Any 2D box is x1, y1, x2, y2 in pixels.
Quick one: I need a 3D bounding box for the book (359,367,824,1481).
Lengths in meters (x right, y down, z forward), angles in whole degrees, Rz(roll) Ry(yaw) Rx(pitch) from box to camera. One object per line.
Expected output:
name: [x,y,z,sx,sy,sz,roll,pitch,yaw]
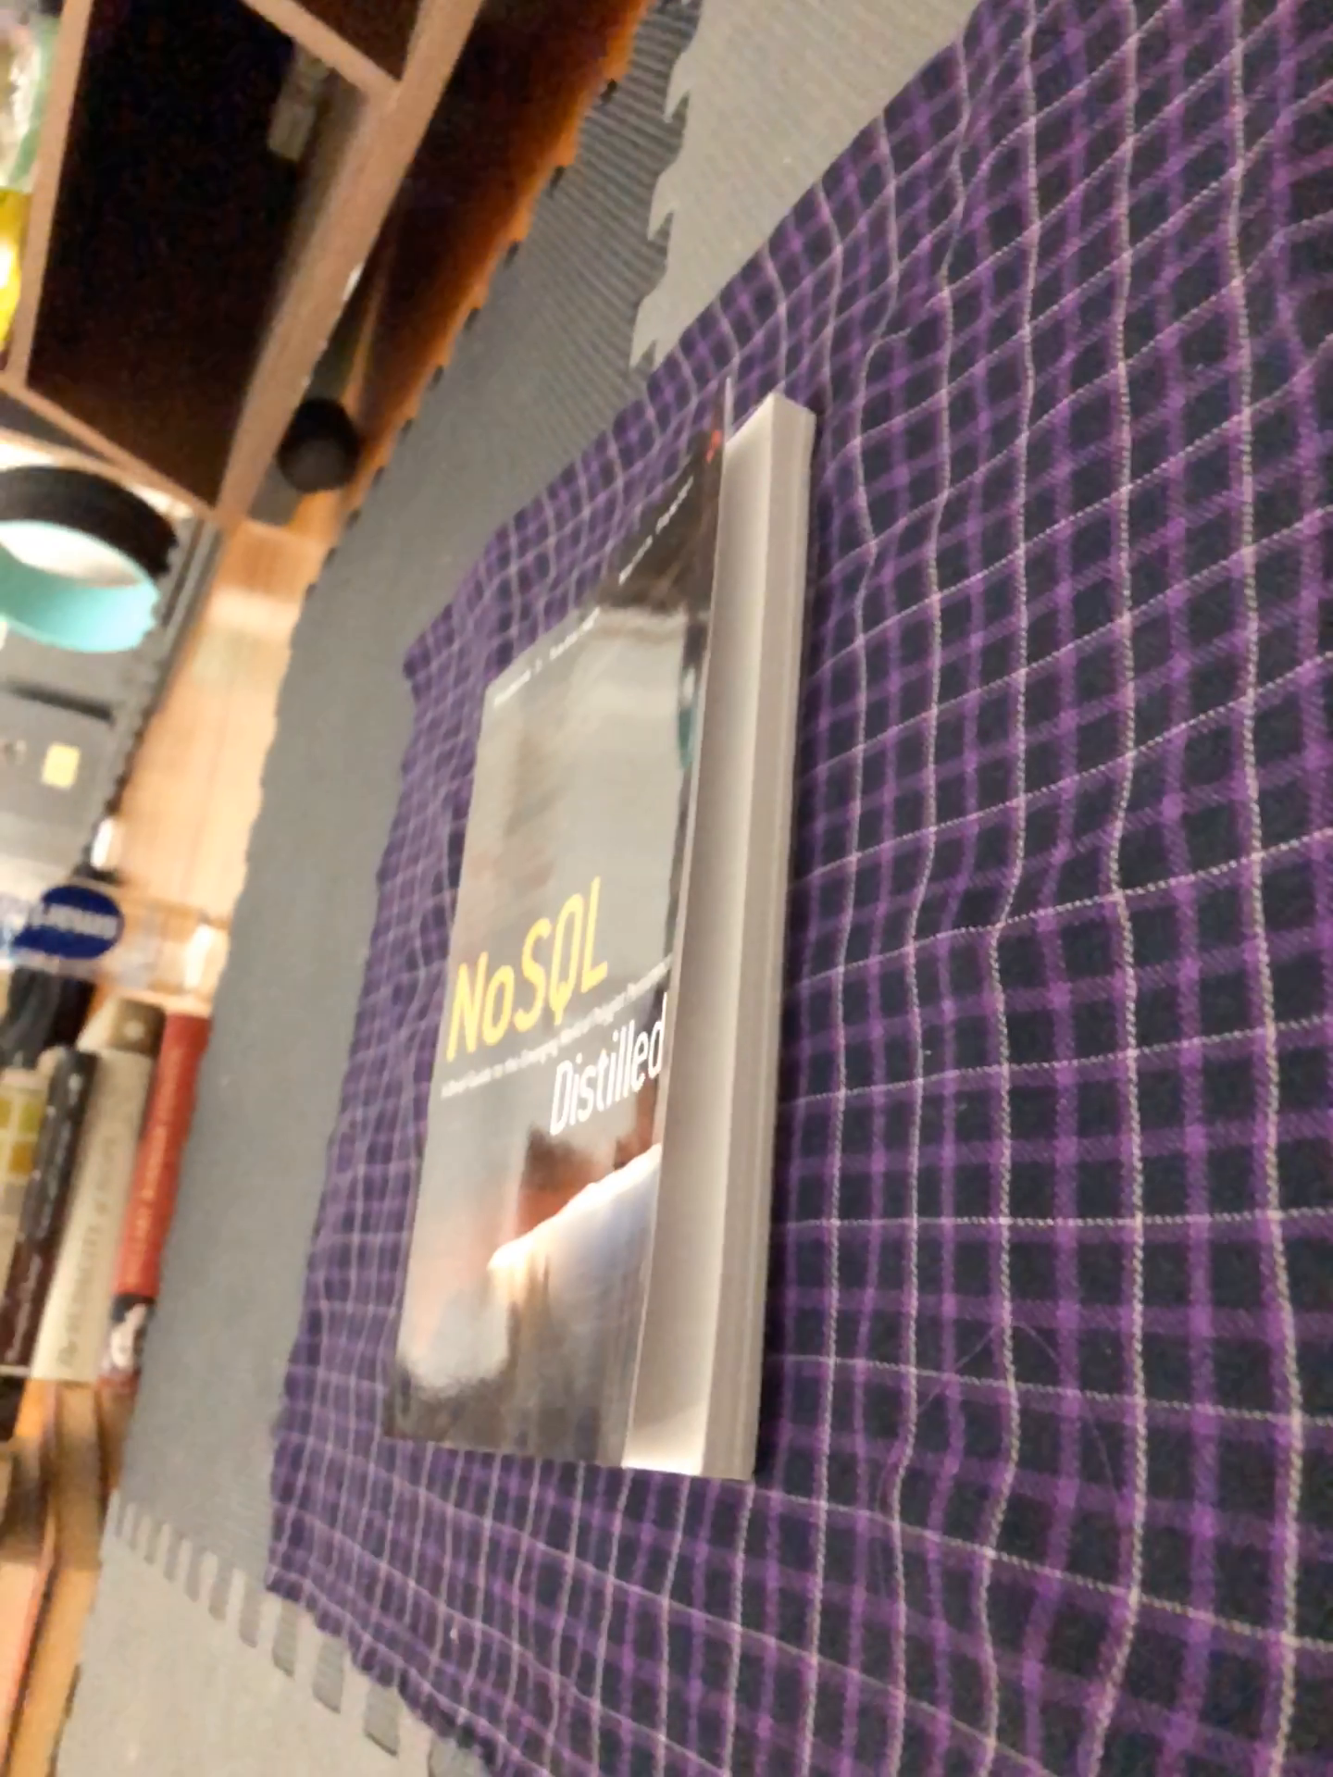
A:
book: [-0.025,0.019,0.398,0.191,0.020,0.250,-32,47,57]
